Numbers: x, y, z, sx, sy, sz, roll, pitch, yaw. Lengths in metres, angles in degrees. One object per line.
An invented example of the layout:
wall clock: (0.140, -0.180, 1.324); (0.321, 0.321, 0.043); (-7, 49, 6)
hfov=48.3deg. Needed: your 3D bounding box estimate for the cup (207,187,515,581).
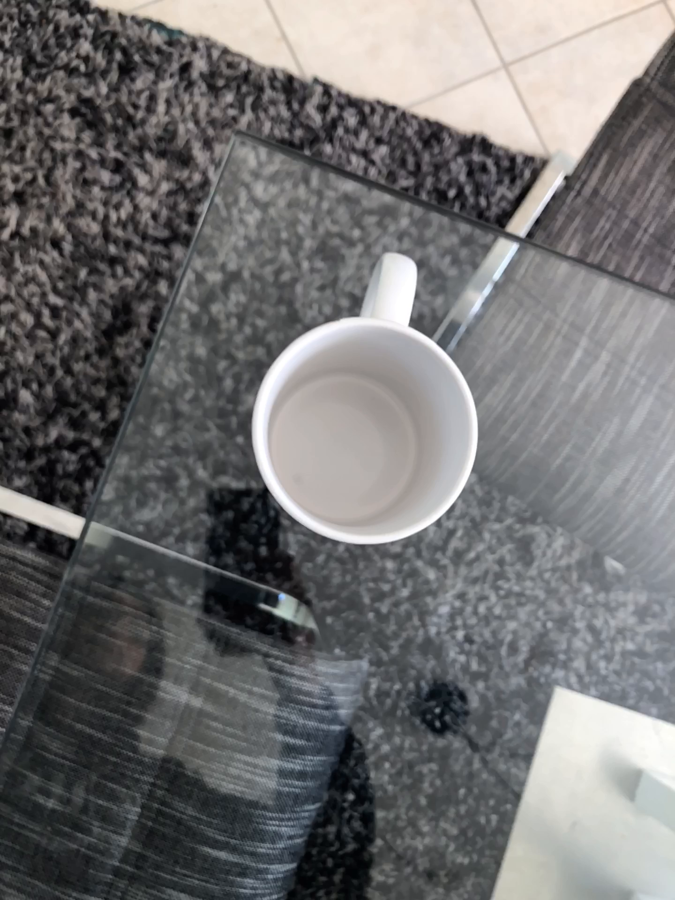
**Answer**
cup: (0.006, -0.020, 0.303); (0.080, 0.090, 0.120); (14, 85, -4)
